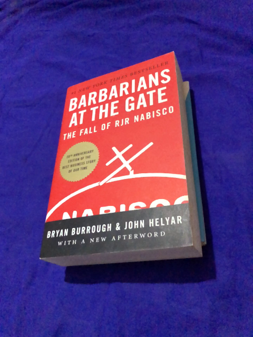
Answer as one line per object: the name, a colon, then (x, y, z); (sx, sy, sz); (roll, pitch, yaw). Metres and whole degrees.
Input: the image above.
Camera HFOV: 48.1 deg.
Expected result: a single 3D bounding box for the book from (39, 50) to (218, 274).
book: (0.004, -0.010, 0.289); (0.140, 0.050, 0.210); (-10, 58, 20)
